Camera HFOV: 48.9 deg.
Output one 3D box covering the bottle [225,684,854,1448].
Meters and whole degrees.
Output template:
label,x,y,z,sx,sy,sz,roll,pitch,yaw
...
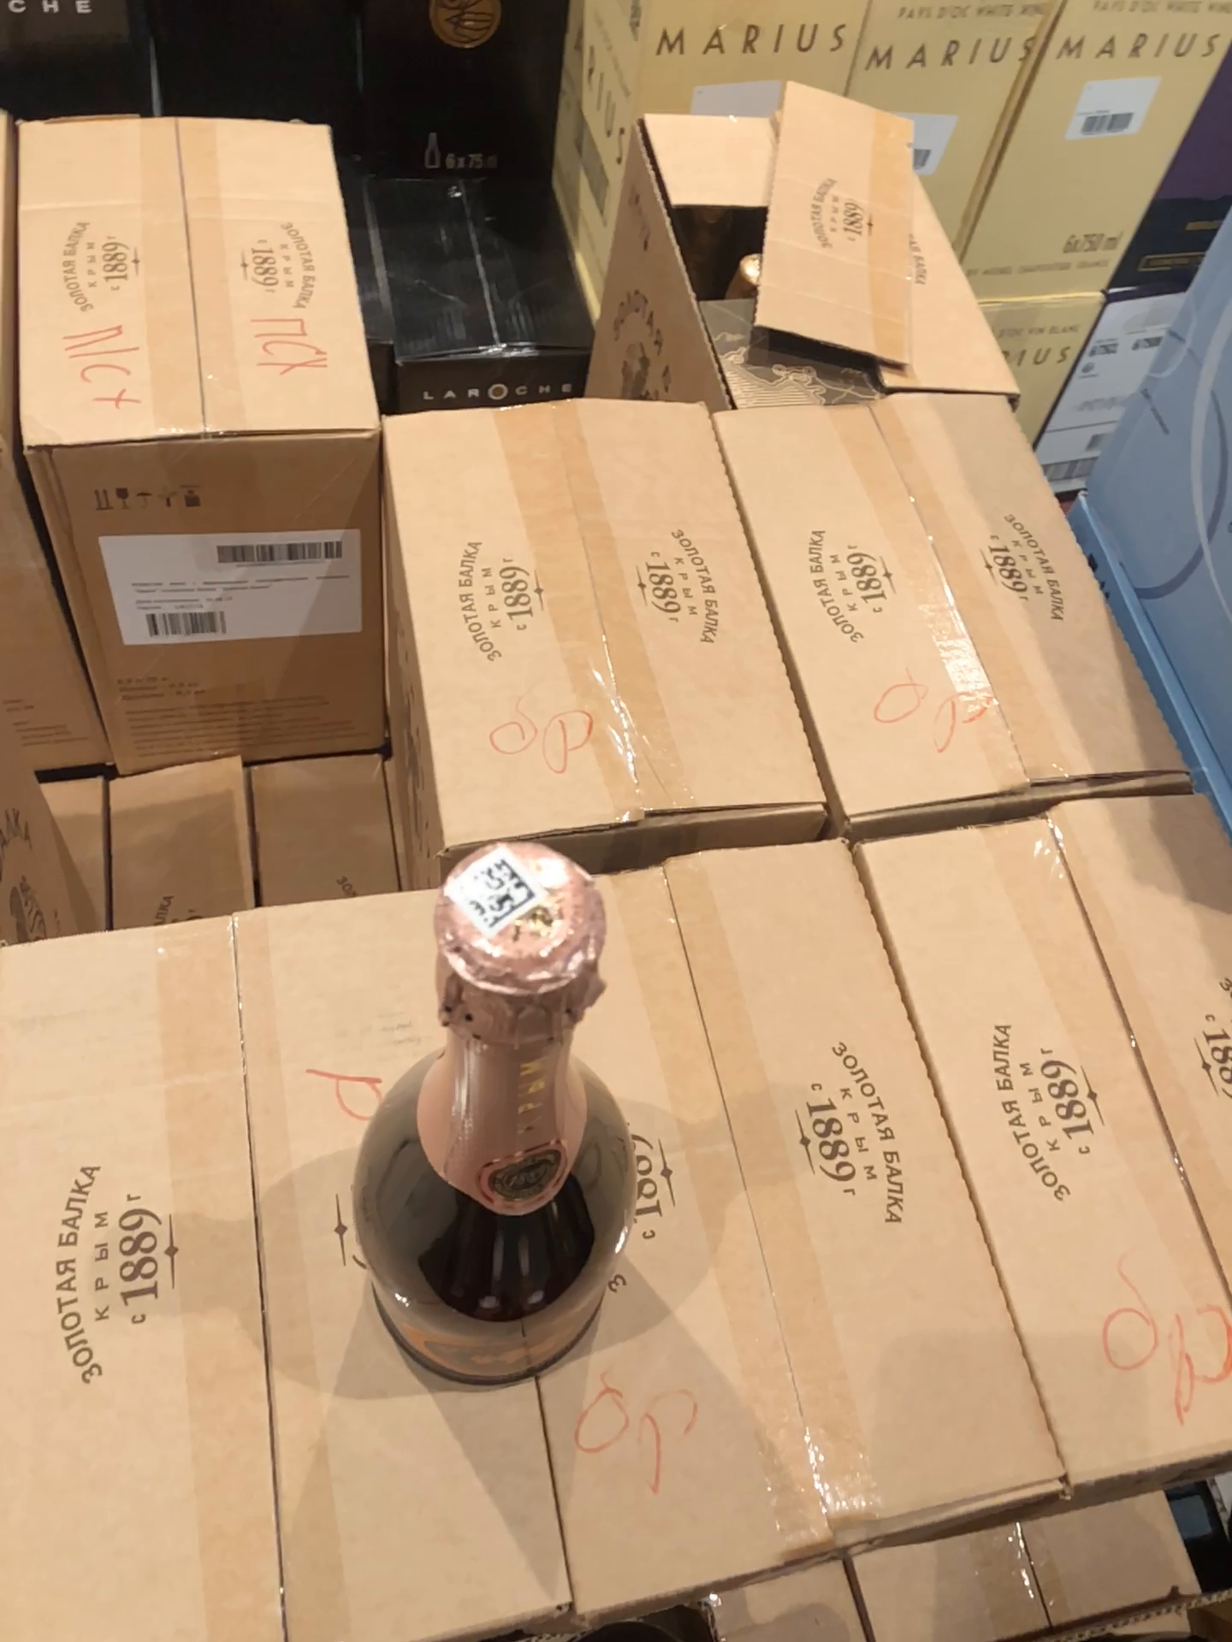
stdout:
label,x,y,z,sx,sy,sz,roll,pitch,yaw
bottle,-0.034,0.097,0.385,0.100,0.309,0.090,-10,60,-13
